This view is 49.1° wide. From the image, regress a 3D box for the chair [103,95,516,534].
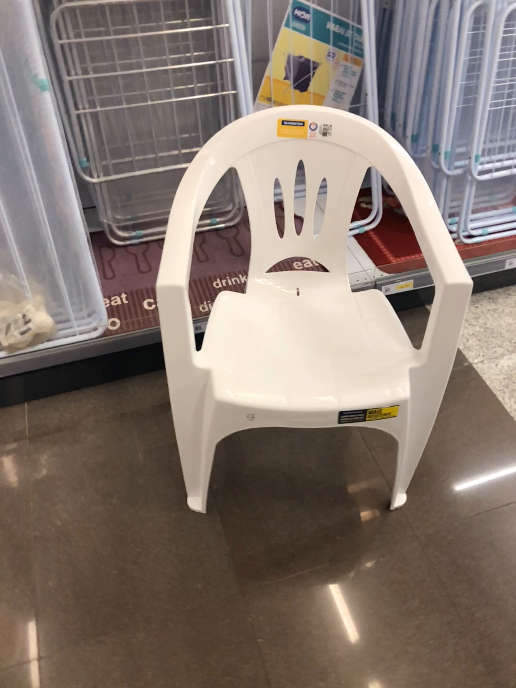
[{"bbox_3d":[0.064,-0.055,1.239,0.600,0.705,0.604,-4,46,-4],"label":"chair"}]
